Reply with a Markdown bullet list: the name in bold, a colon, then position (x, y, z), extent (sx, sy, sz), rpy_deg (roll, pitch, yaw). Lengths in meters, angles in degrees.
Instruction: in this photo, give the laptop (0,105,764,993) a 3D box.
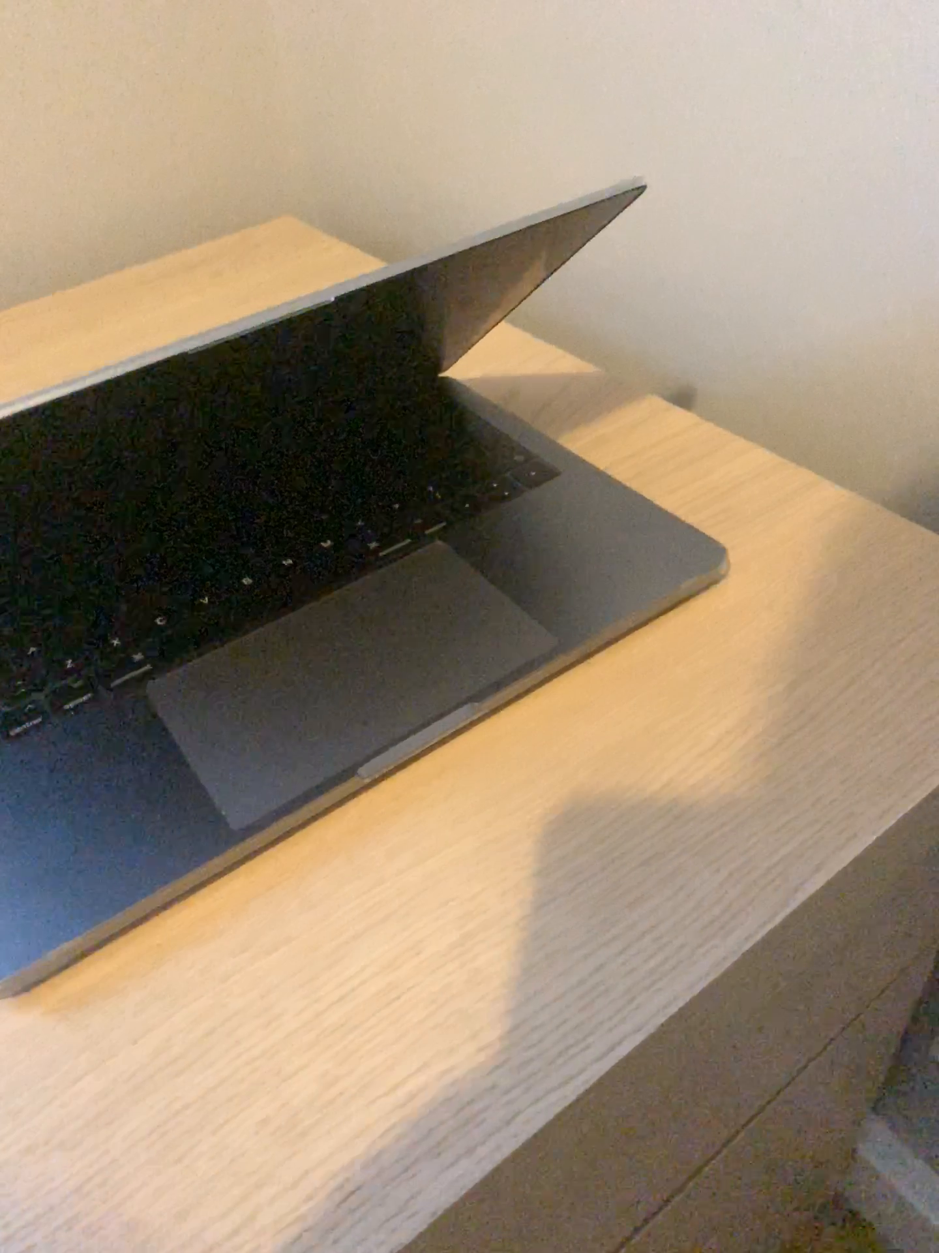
- **laptop**: position (-0.081, -0.064, 0.344), extent (0.290, 0.130, 0.205), rpy_deg (-28, 45, -22)
